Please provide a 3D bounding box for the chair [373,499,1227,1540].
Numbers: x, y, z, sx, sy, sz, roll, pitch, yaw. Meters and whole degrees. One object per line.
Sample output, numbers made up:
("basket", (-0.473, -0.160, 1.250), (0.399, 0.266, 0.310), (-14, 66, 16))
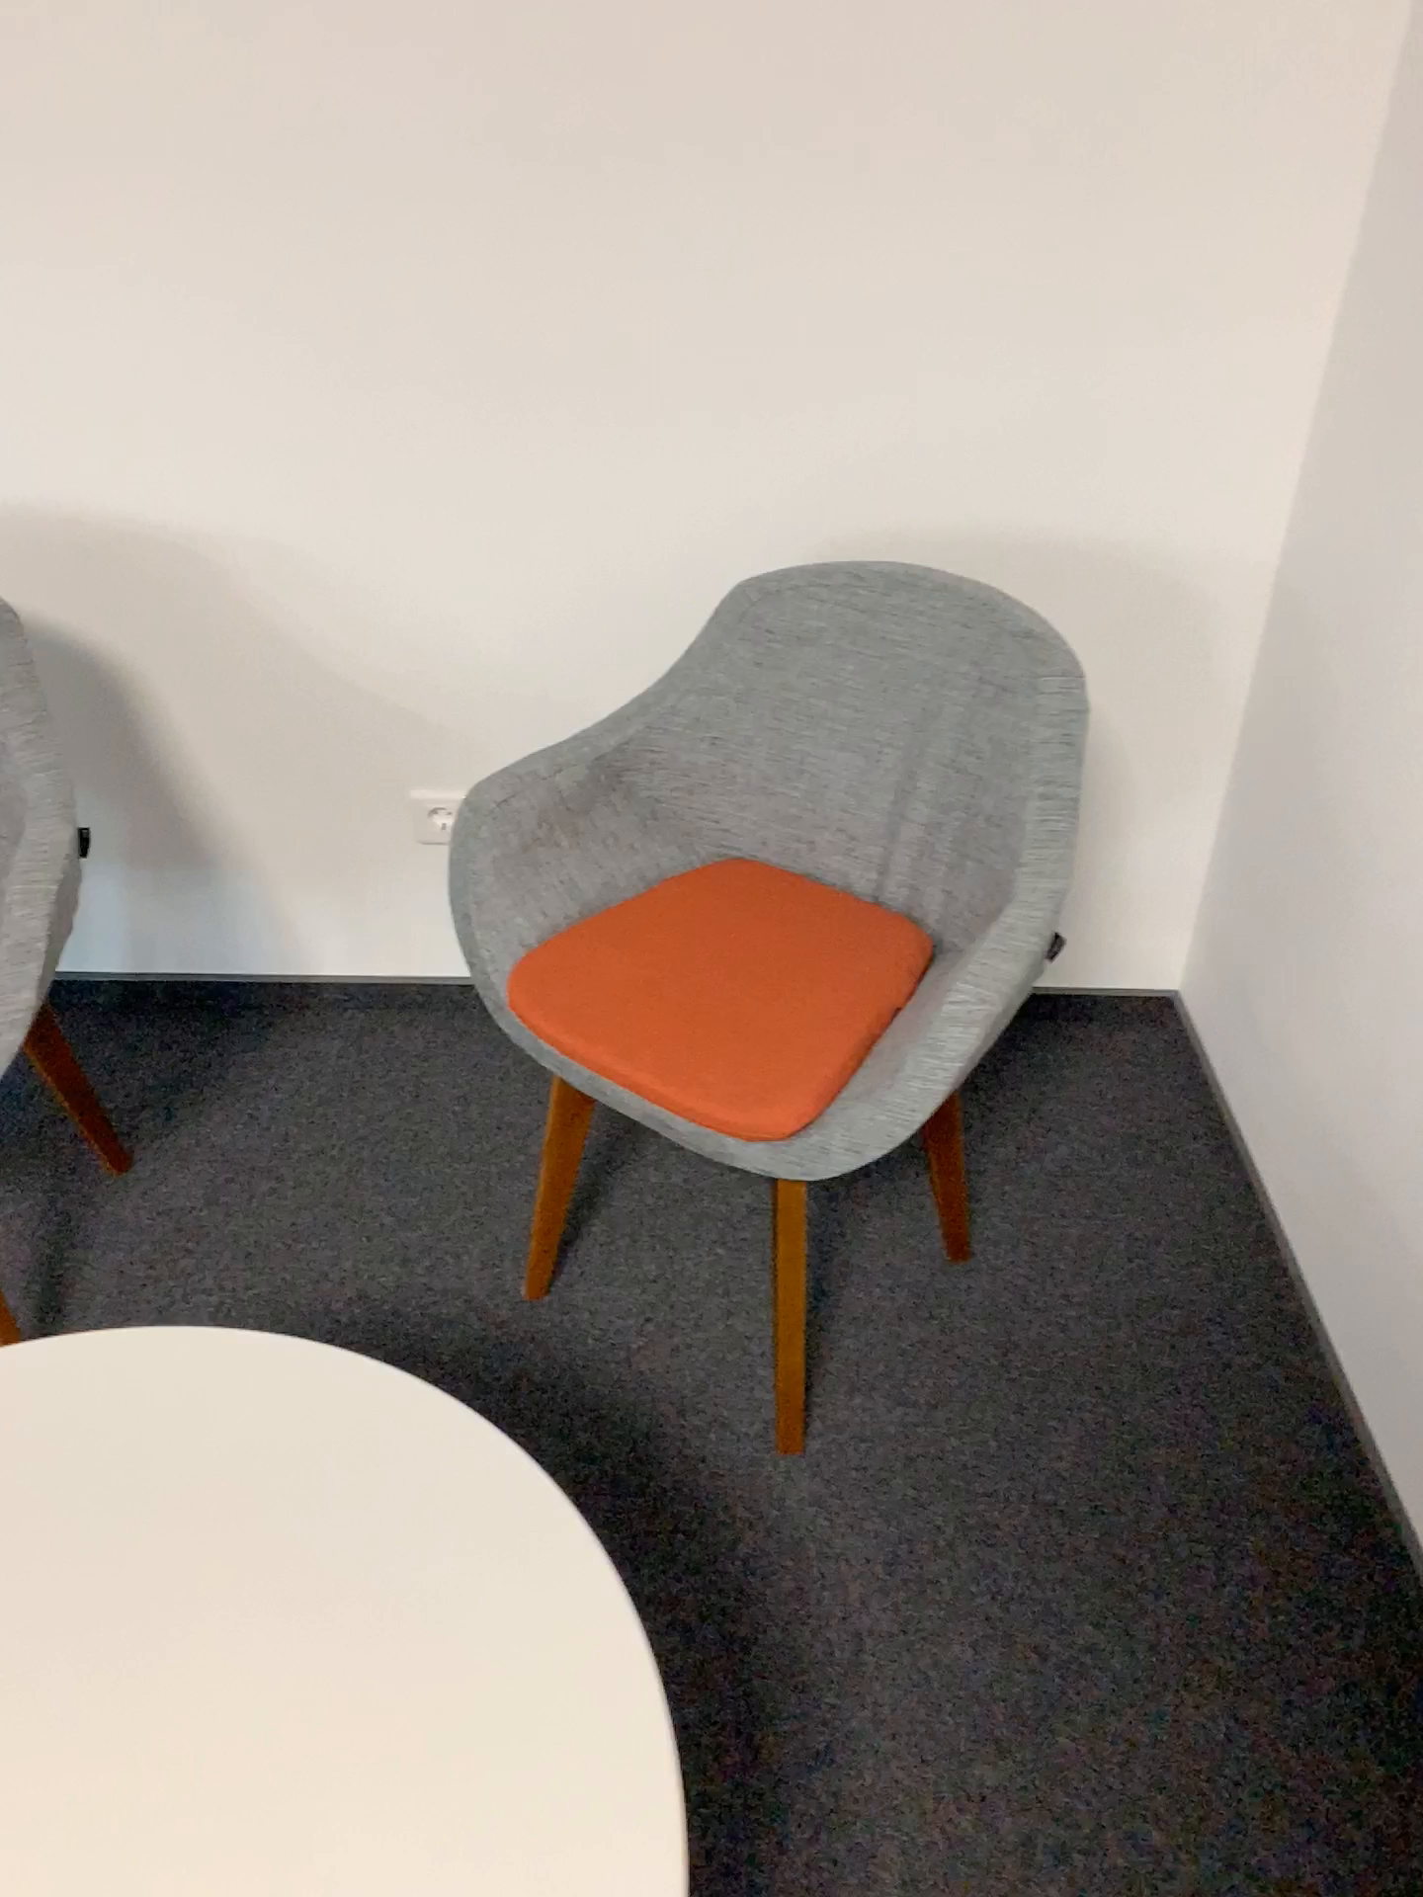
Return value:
("chair", (0.079, 0.045, 1.594), (0.631, 0.835, 0.502), (24, 40, 30))
